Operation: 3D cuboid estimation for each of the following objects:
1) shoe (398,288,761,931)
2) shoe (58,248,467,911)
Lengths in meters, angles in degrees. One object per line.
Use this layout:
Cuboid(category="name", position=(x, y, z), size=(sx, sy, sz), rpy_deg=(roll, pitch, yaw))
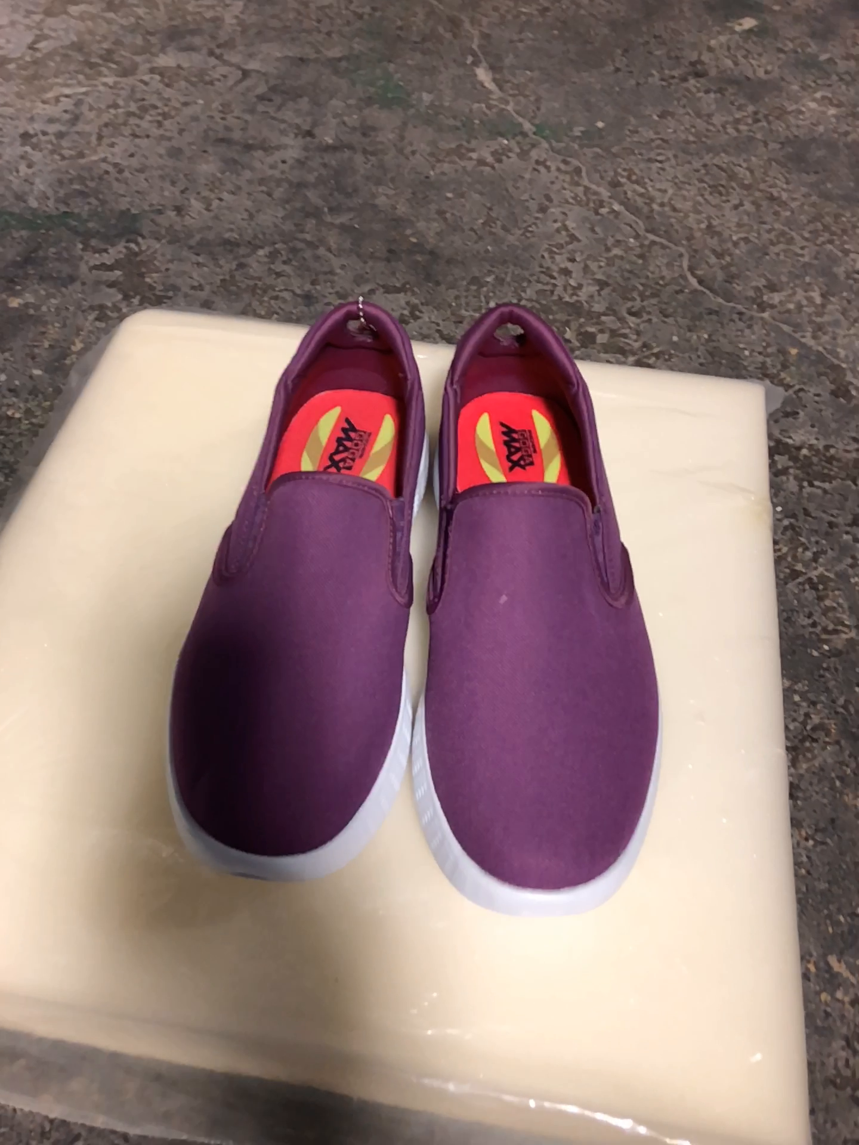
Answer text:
Cuboid(category="shoe", position=(0.043, 0.001, 0.370), size=(0.100, 0.089, 0.242), rpy_deg=(1, 52, 0))
Cuboid(category="shoe", position=(-0.045, -0.013, 0.384), size=(0.100, 0.089, 0.262), rpy_deg=(5, 53, 3))
